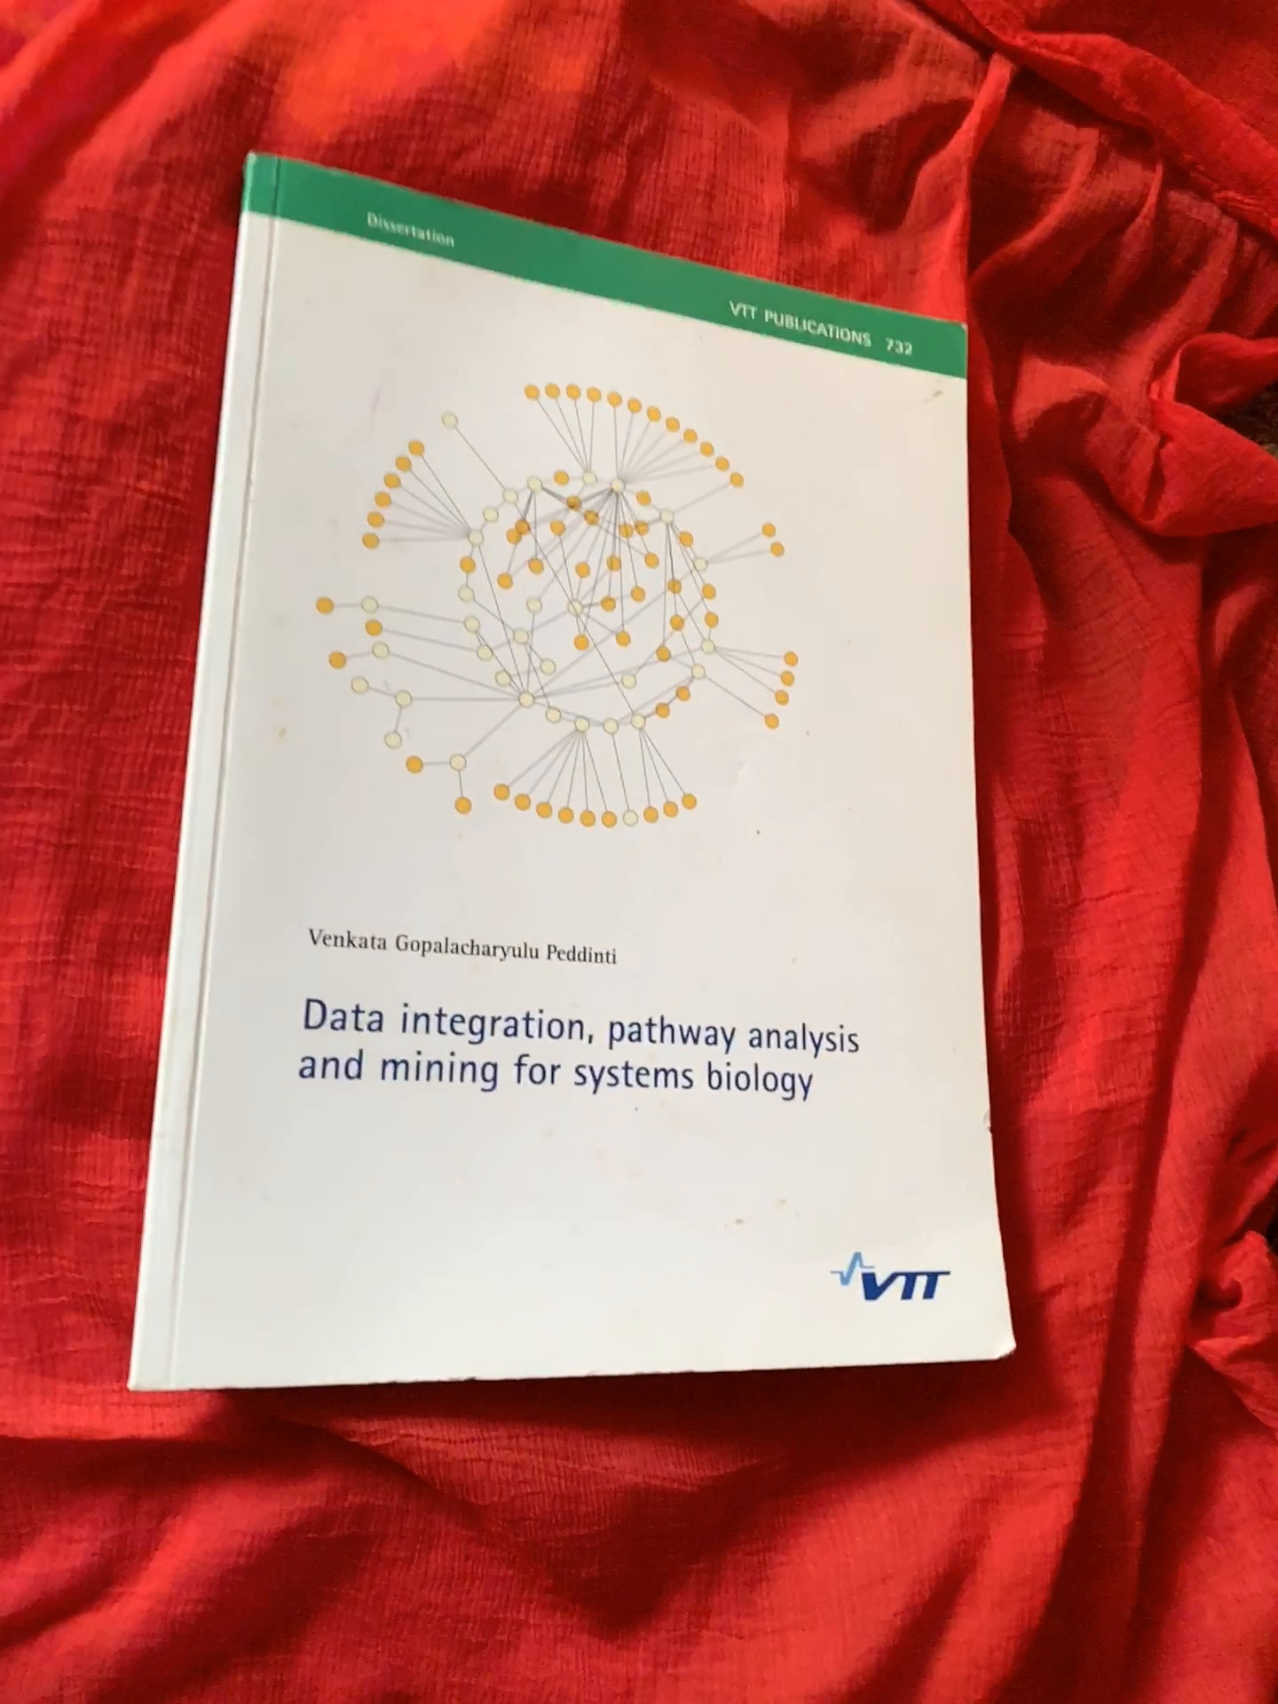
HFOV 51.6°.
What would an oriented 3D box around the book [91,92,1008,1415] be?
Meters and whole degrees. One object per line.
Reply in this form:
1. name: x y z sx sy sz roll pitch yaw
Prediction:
1. book: -0.008 -0.025 0.293 0.180 0.020 0.270 5 76 -16
